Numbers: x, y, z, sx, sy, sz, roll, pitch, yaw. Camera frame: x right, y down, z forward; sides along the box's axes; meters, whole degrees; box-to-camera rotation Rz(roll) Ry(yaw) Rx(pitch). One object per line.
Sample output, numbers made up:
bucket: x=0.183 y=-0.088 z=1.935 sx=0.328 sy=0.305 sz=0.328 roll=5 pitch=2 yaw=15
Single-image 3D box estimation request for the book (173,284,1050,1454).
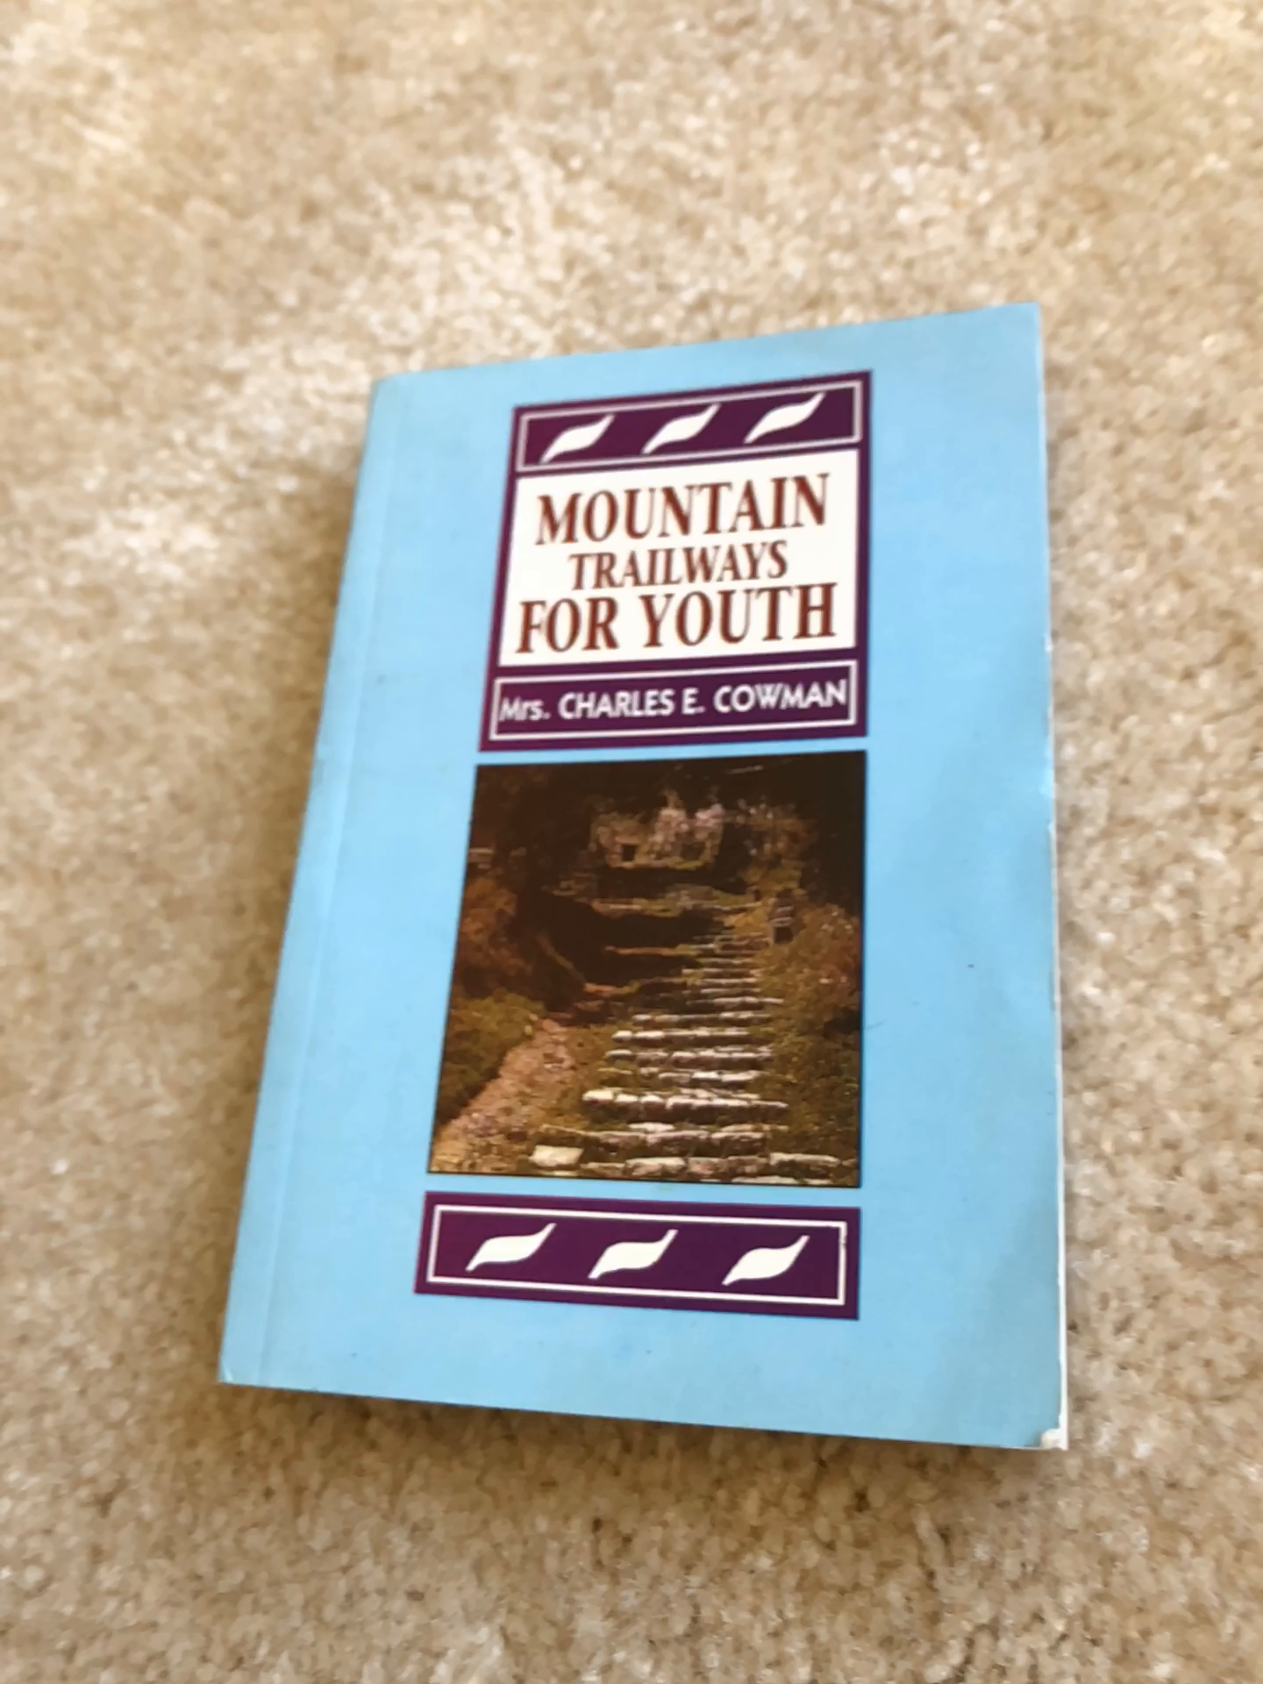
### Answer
book: x=0.002 y=-0.001 z=0.229 sx=0.122 sy=0.030 sz=0.170 roll=-2 pitch=70 yaw=18
